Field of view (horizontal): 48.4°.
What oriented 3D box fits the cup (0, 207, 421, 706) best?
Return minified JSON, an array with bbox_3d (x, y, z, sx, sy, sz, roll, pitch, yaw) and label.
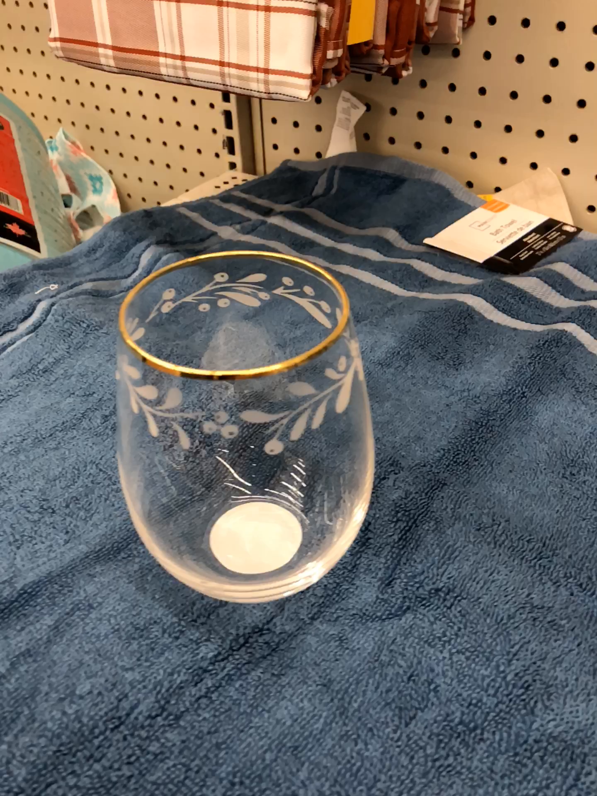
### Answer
[{"bbox_3d":[-0.027,0.012,0.213,0.090,0.100,0.090,-1,39,1],"label":"cup"}]
